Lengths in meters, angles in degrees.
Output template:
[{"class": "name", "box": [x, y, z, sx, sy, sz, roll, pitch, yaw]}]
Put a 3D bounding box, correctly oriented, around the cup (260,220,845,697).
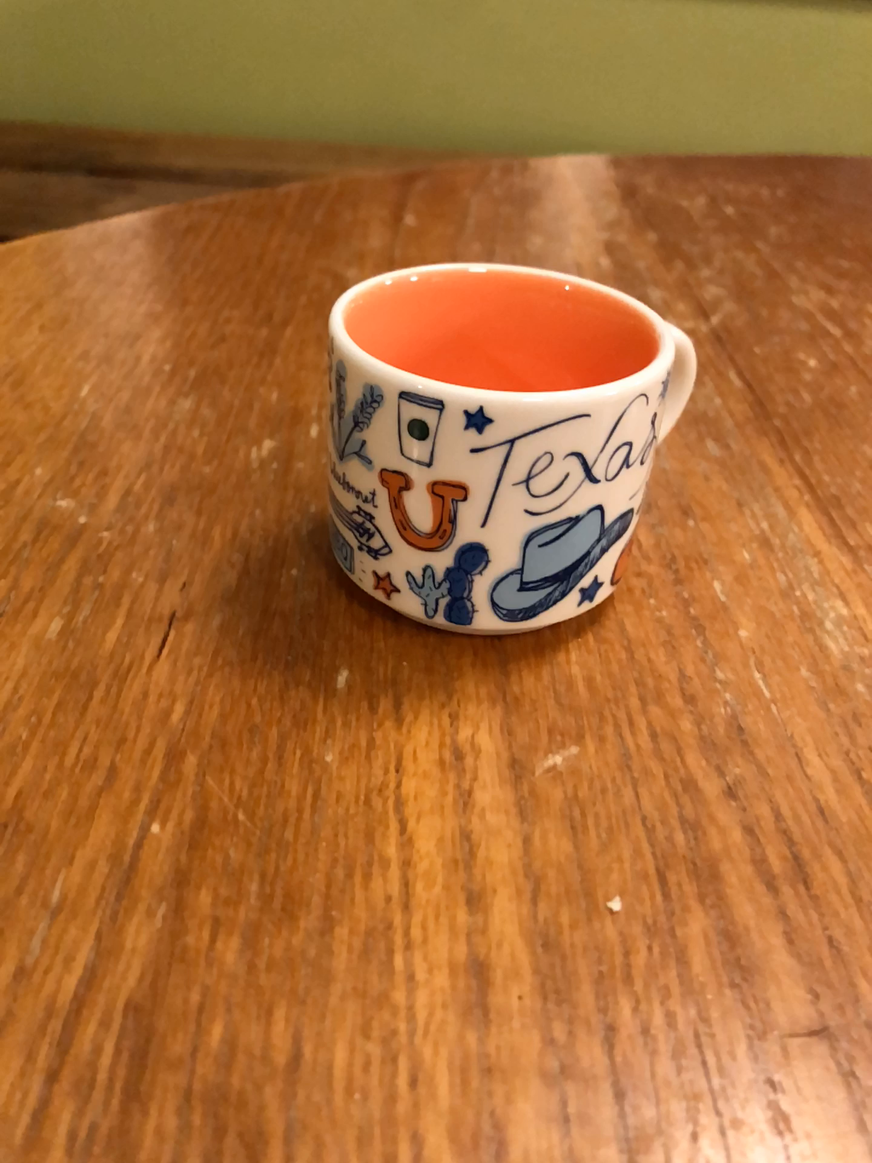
[{"class": "cup", "box": [0.018, -0.029, 0.179, 0.077, 0.046, 0.064, -22, 43, -30]}]
